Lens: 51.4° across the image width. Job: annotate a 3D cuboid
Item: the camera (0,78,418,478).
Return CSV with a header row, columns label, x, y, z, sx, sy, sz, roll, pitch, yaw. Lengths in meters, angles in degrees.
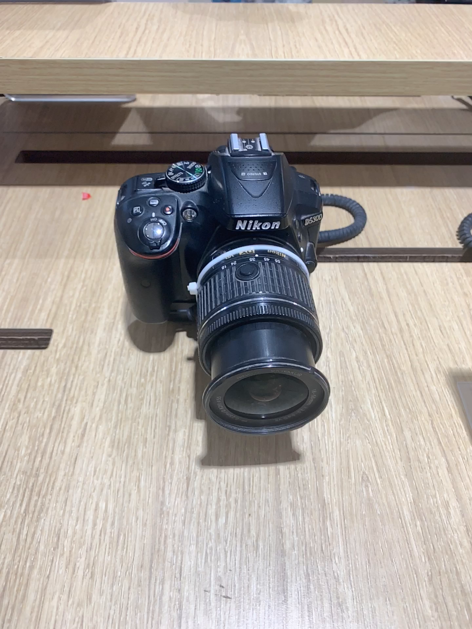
label,x,y,z,sx,sy,sz,roll,pitch,yaw
camera,-0.019,-0.034,0.293,0.160,0.120,0.211,-3,48,-2
